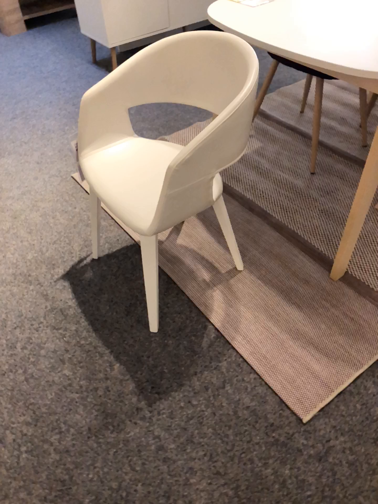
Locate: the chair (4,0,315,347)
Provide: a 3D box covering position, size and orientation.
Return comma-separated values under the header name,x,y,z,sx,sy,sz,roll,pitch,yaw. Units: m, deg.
name,x,y,z,sx,sy,sz,roll,pitch,yaw
chair,-0.077,-0.247,1.300,0.562,0.756,0.551,-29,51,-23
